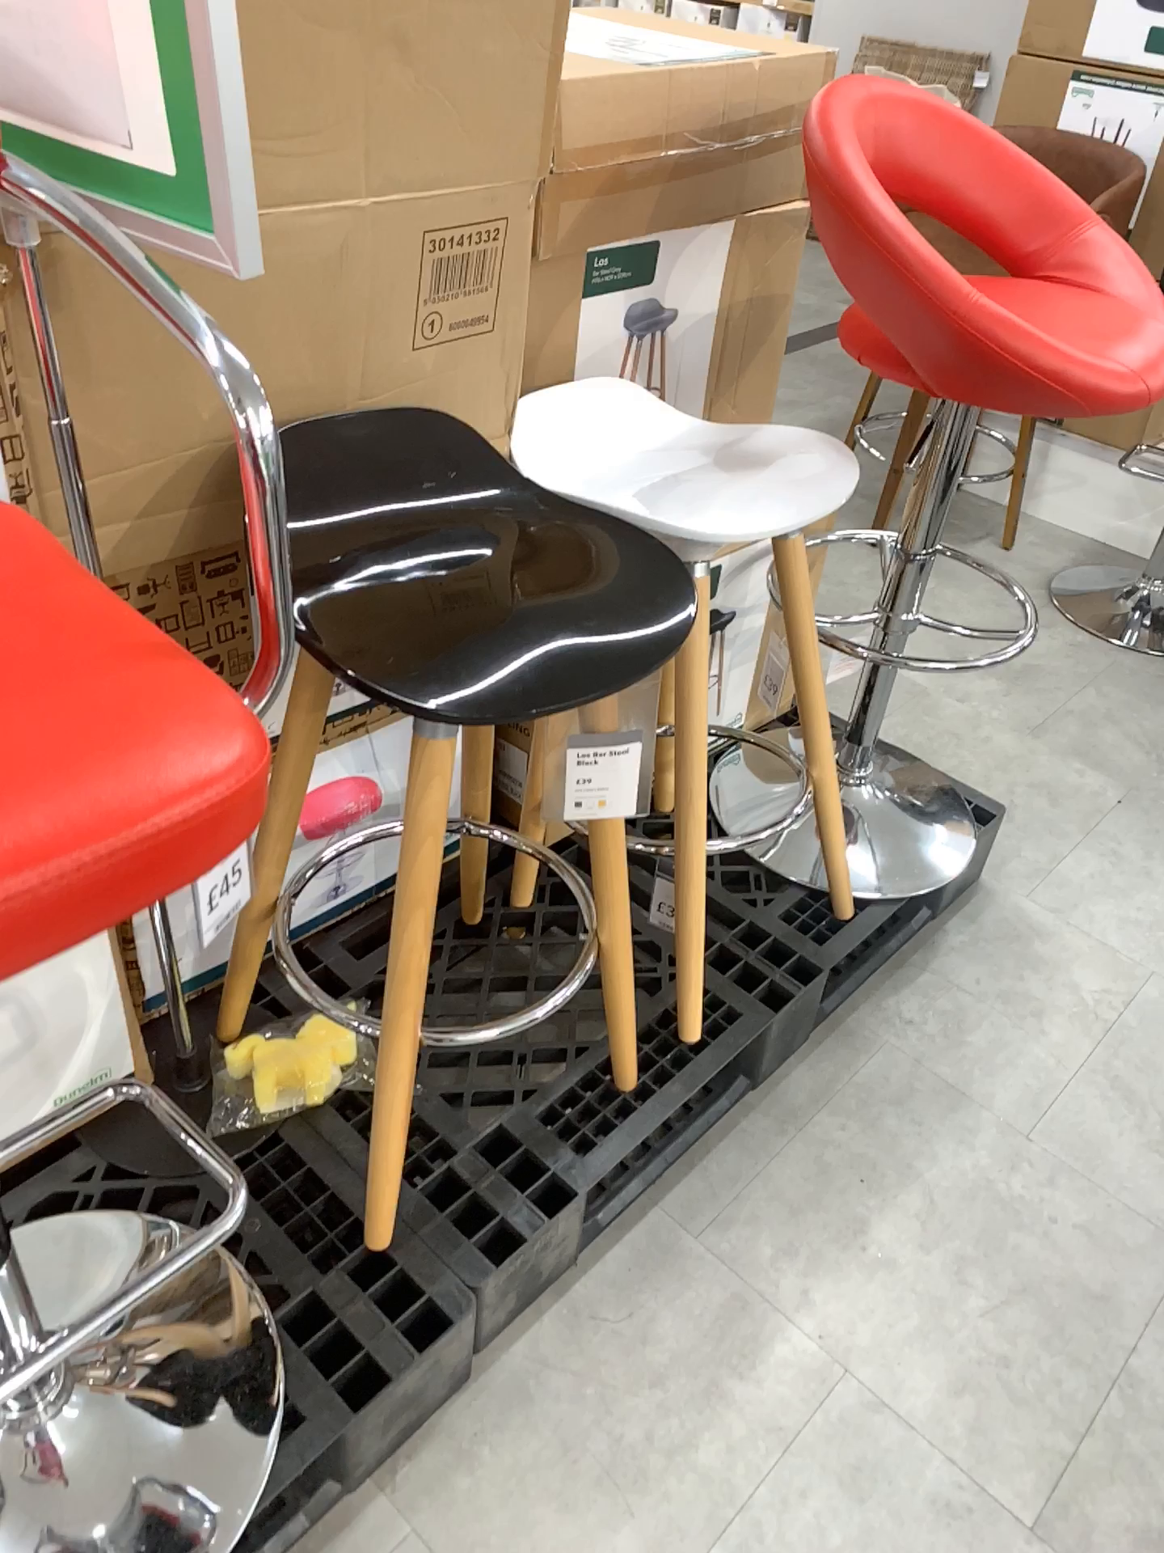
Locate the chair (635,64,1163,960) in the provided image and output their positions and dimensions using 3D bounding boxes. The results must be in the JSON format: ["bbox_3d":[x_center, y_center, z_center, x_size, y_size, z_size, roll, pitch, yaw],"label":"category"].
[{"bbox_3d":[0.454,-0.349,1.596,0.451,0.979,0.512,29,42,28],"label":"chair"}]

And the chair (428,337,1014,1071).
[{"bbox_3d":[0.124,-0.107,1.468,0.482,0.663,0.411,32,44,31],"label":"chair"}]

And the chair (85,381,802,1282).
[{"bbox_3d":[-0.145,0.038,1.194,0.430,0.673,0.432,-24,46,-34],"label":"chair"}]

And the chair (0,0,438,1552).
[{"bbox_3d":[-0.445,0.163,0.712,0.451,1.029,0.552,29,42,28],"label":"chair"}]
